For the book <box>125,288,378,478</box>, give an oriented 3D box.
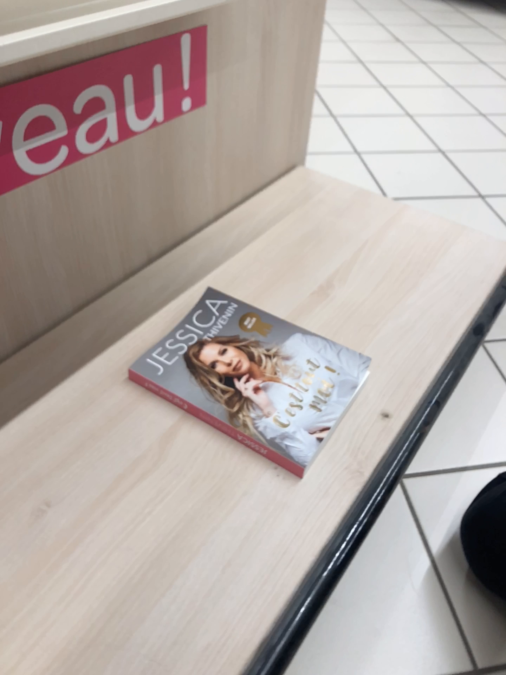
[{"bbox_3d":[0.000,0.034,0.576,0.212,0.020,0.147,26,47,21],"label":"book"}]
